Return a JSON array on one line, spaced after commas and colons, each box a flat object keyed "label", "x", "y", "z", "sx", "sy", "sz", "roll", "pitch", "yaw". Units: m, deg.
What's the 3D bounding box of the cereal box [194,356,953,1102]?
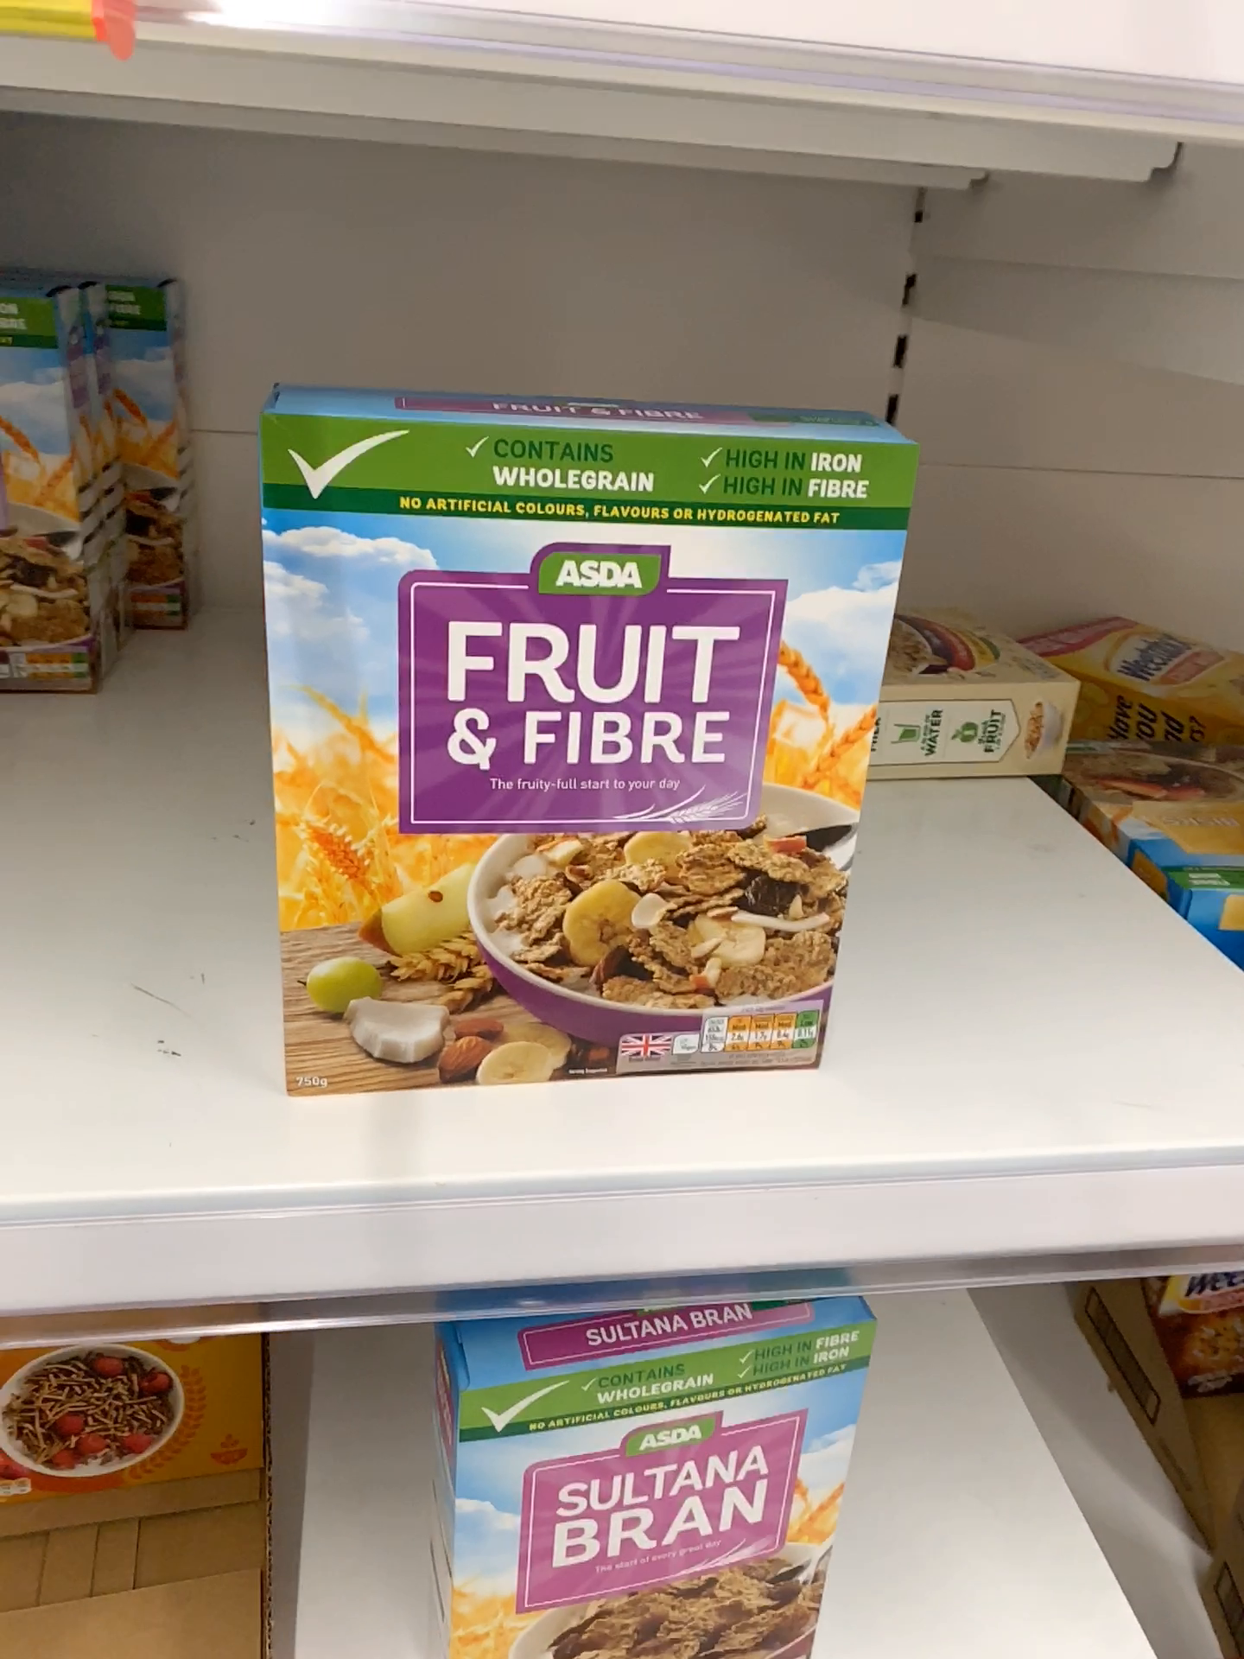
[{"label": "cereal box", "x": -0.022, "y": -0.035, "z": 0.487, "sx": 0.240, "sy": 0.258, "sz": 0.081, "roll": -1, "pitch": 23, "yaw": -10}]
